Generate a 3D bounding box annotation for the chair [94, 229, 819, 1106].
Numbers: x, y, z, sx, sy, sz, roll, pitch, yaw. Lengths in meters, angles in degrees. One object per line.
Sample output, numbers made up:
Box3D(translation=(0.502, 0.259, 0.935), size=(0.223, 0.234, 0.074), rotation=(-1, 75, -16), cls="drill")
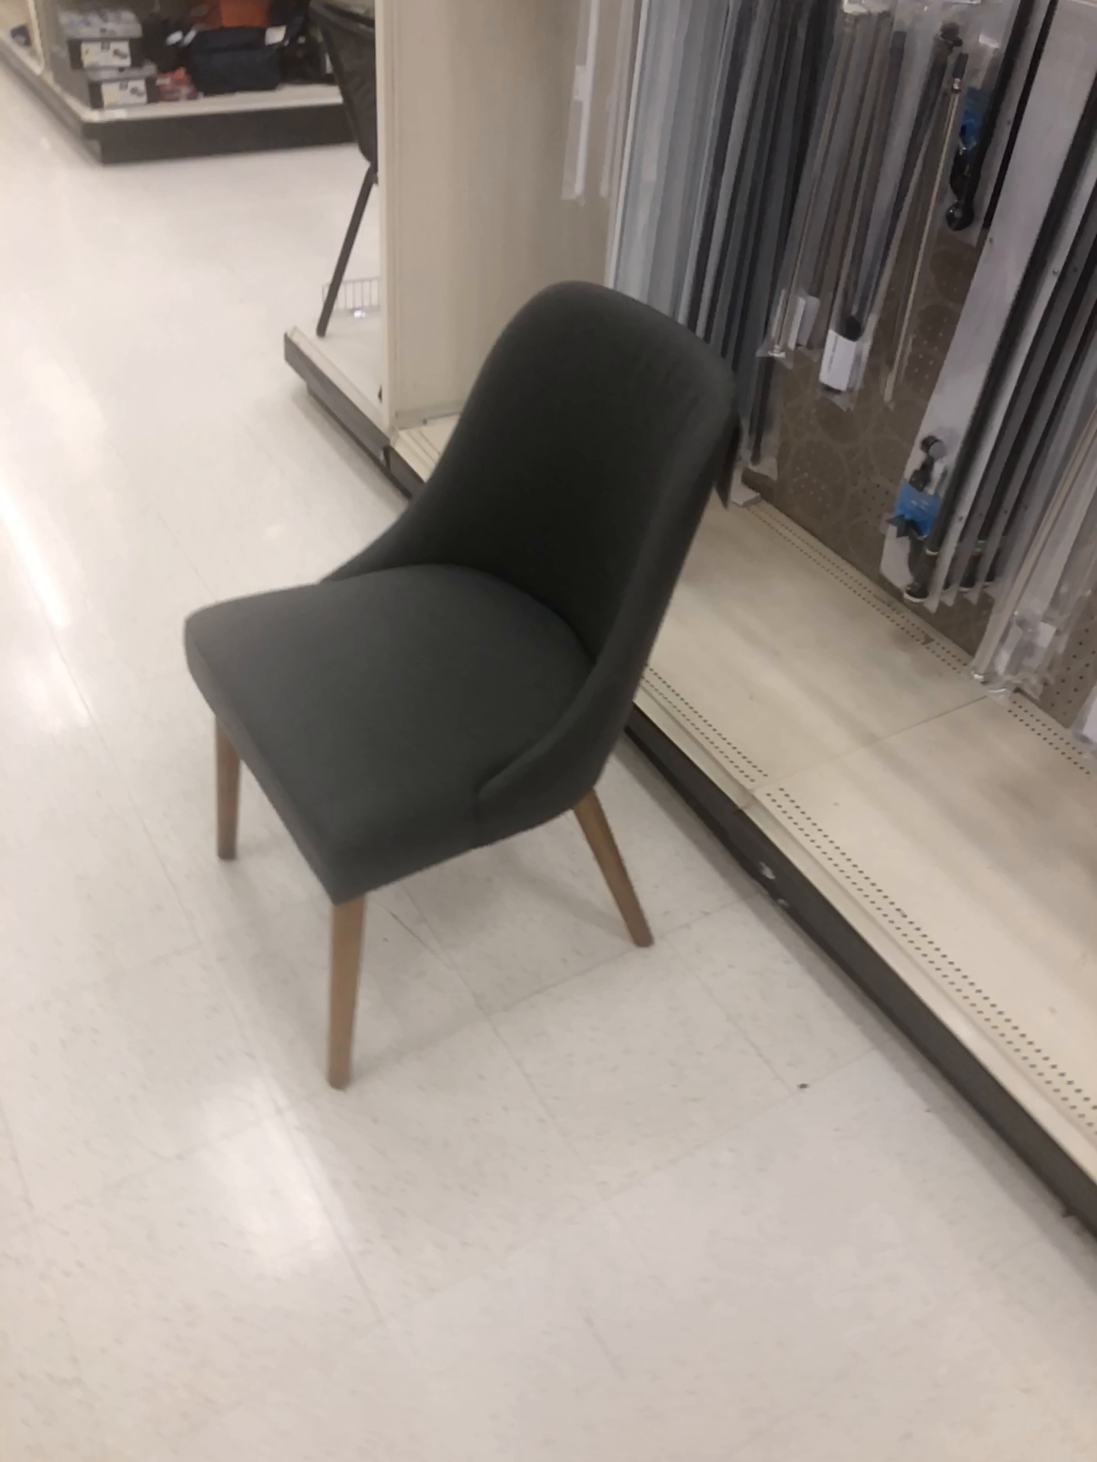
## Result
Box3D(translation=(-0.141, -0.084, 1.536), size=(0.587, 0.859, 0.515), rotation=(-18, 46, -25), cls="chair")
